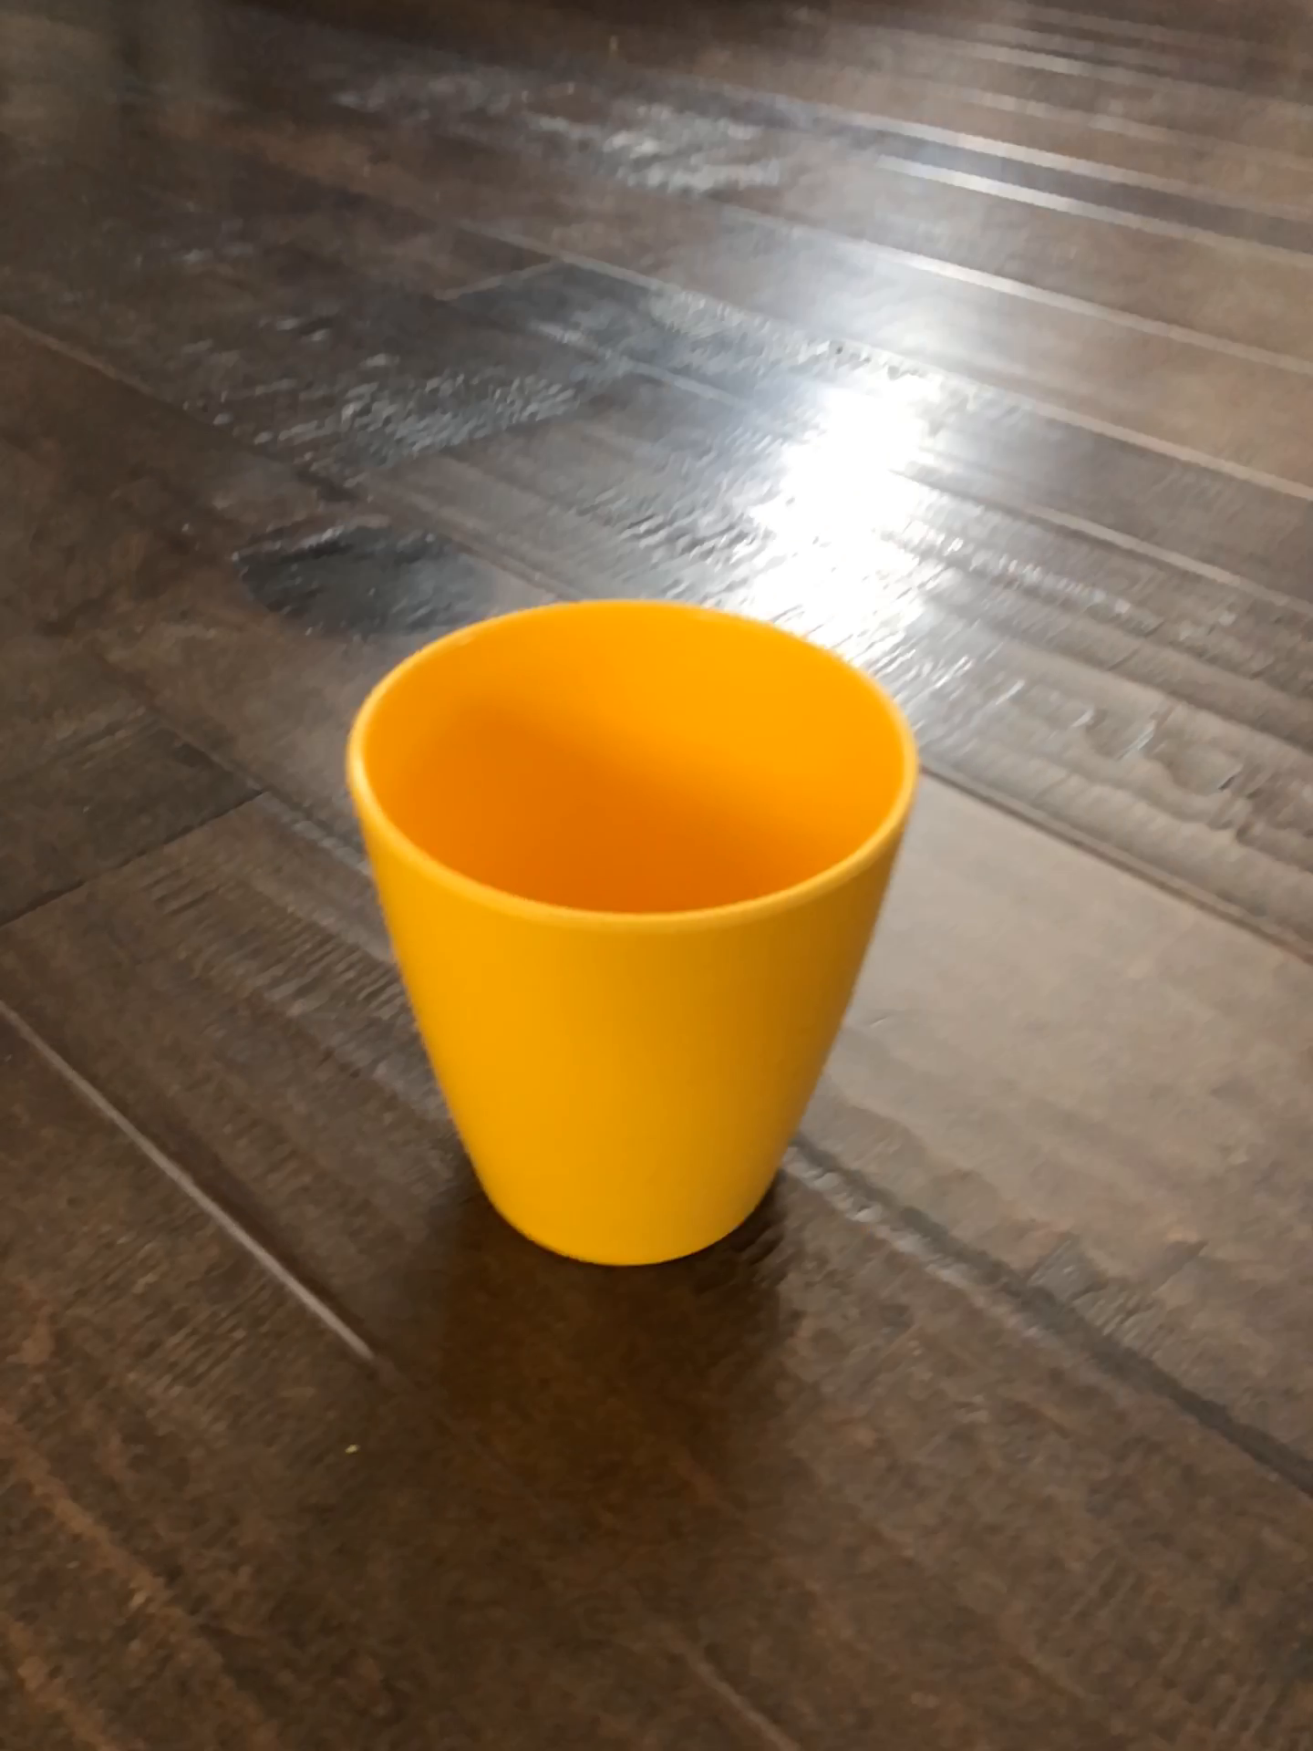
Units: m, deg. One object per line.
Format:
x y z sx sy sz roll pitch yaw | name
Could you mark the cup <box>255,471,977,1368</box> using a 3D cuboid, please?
0.000 0.002 0.261 0.090 0.099 0.111 10 39 9 | cup
